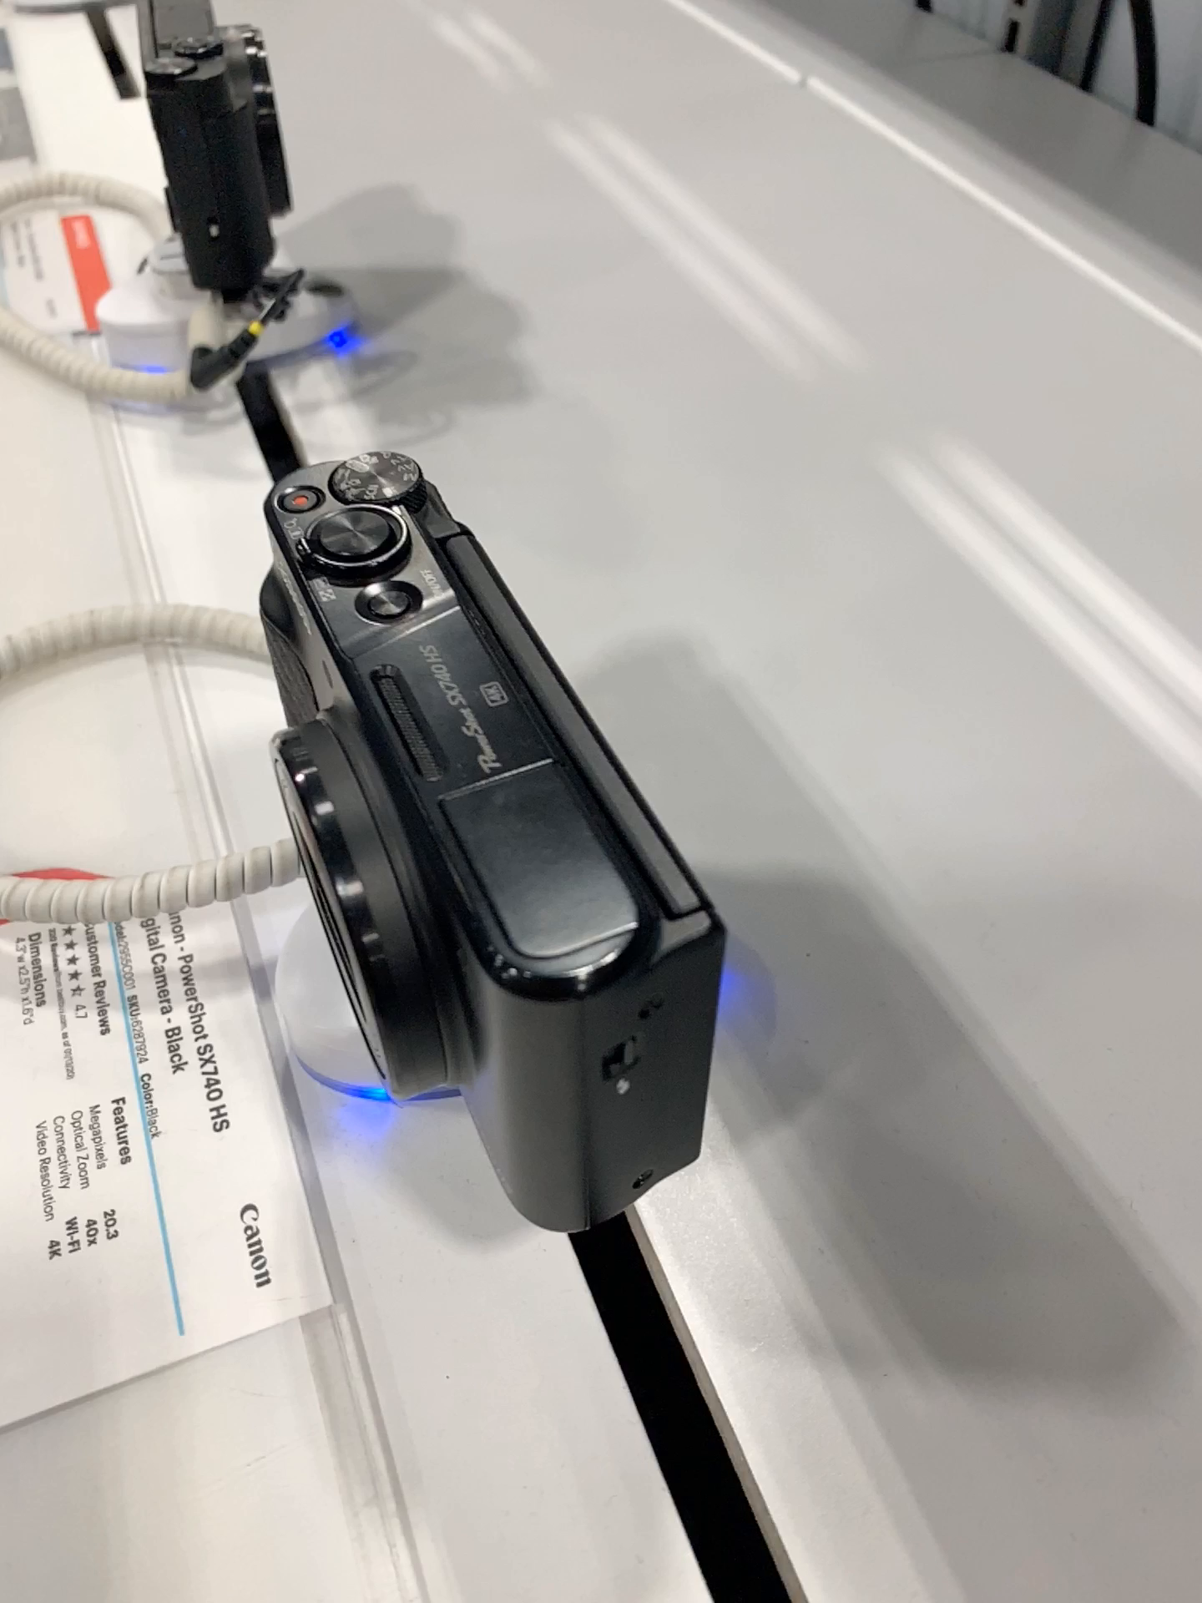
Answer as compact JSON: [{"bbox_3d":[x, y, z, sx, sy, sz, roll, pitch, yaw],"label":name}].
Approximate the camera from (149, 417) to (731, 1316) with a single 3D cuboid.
[{"bbox_3d":[-0.029,0.003,0.193,0.041,0.064,0.121,-18,50,-16],"label":"camera"}]
